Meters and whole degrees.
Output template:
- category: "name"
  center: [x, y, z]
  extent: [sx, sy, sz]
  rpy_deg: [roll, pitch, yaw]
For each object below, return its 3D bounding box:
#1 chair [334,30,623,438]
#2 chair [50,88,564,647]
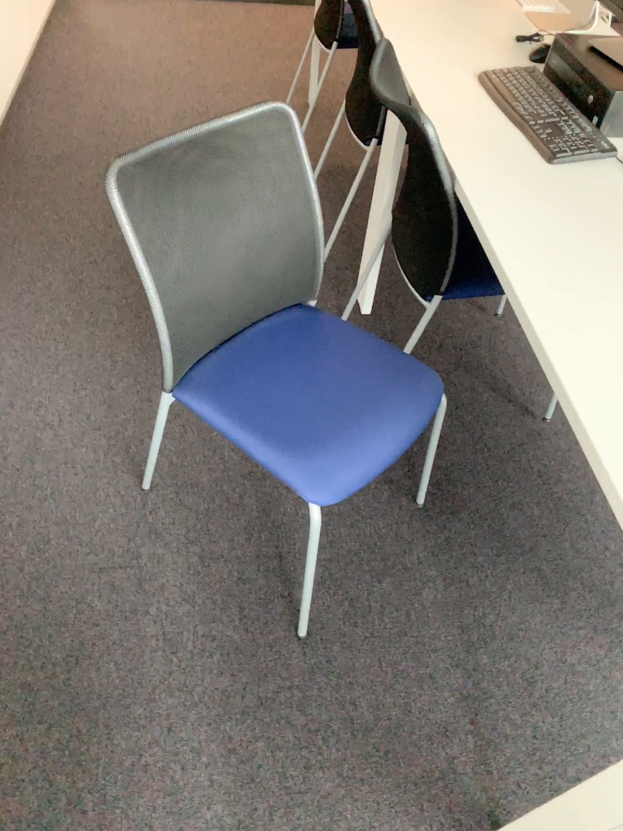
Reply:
- category: "chair"
  center: [0.470, -0.447, 1.727]
  extent: [0.650, 0.865, 0.573]
  rpy_deg: [-2, 49, -8]
- category: "chair"
  center: [-0.032, -0.091, 1.353]
  extent: [0.631, 0.826, 0.572]
  rpy_deg: [37, 54, 24]
